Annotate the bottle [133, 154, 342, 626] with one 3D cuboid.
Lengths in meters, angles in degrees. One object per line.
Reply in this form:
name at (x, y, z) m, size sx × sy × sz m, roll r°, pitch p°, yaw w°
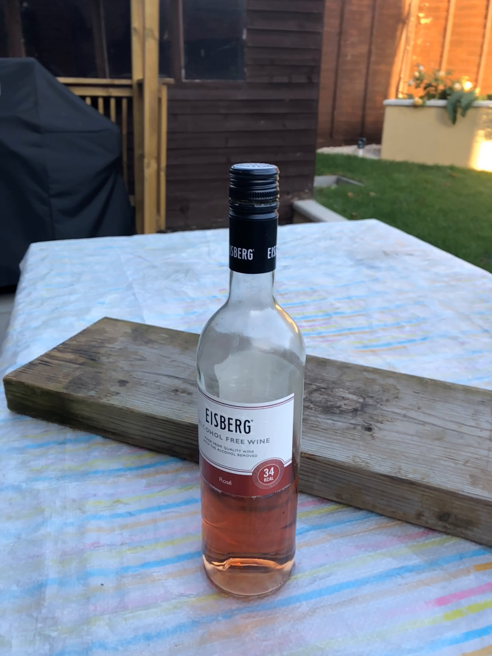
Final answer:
bottle at (-0.003, 0.043, 0.355) m, size 0.090 × 0.288 × 0.080 m, roll 10°, pitch 25°, yaw 21°
